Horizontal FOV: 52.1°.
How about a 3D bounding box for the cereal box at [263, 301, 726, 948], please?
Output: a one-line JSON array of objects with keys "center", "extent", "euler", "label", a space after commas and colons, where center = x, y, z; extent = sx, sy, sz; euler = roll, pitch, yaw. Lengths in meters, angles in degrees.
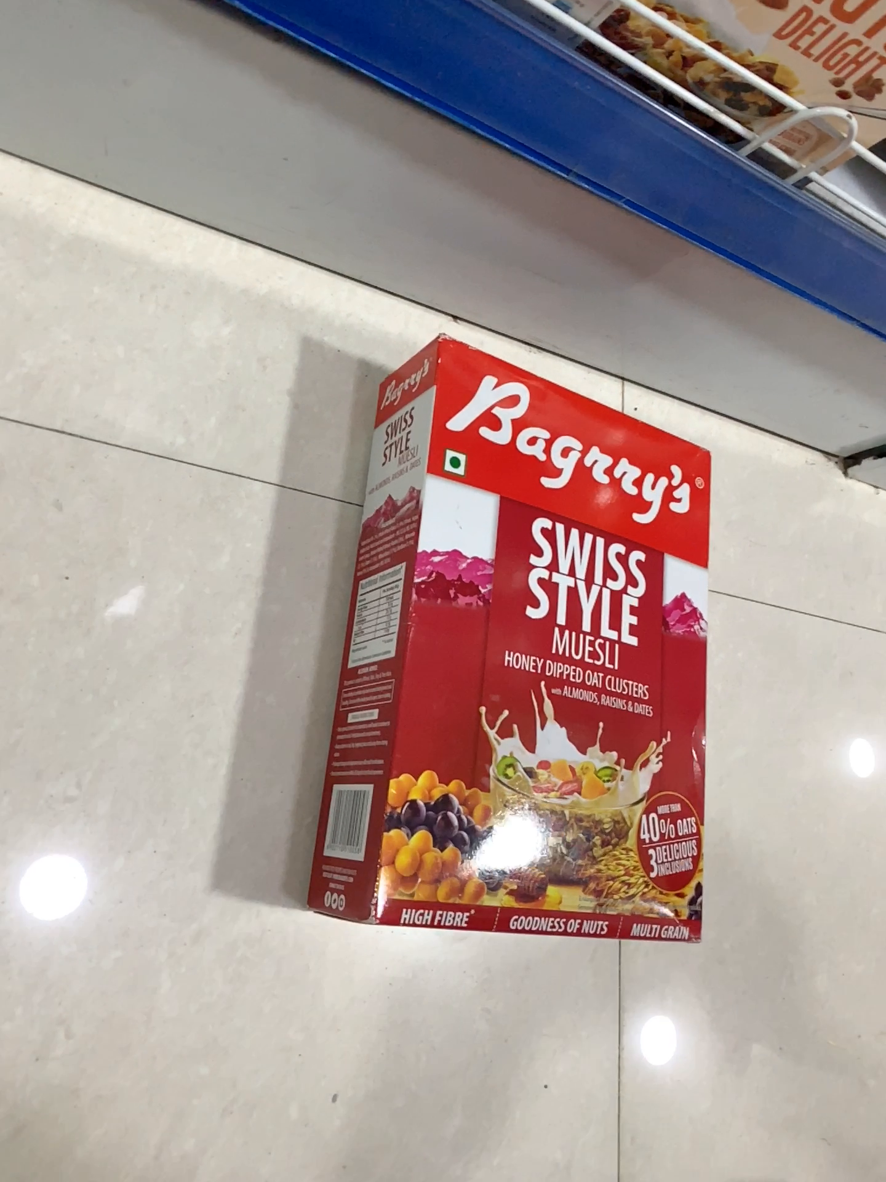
[{"center": [0.037, 0.026, 0.444], "extent": [0.191, 0.080, 0.260], "euler": [16, 72, -30], "label": "cereal box"}]
